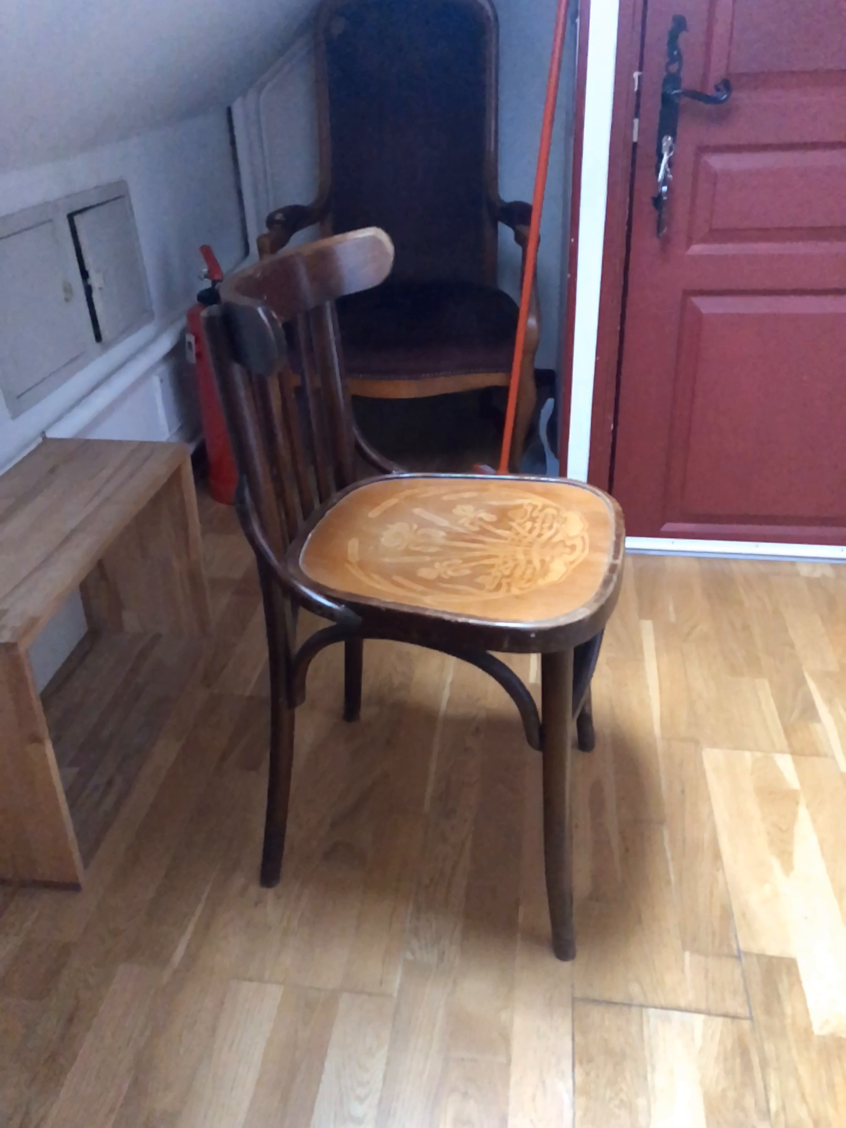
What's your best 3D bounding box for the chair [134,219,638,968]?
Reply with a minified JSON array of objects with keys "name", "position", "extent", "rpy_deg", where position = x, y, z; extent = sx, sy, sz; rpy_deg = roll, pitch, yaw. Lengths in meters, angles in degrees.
[{"name":"chair","position":[0.016,0.014,1.100],"extent":[0.411,0.737,0.445],"rpy_deg":[4,29,11]}]
